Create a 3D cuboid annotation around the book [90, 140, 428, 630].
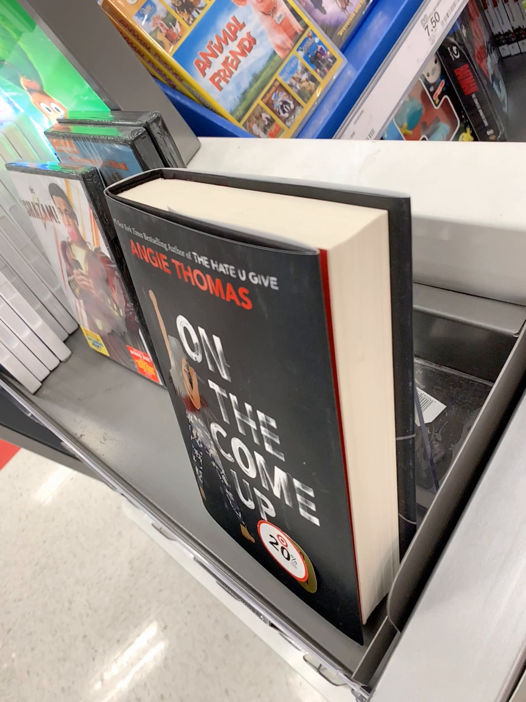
[{"bbox_3d":[0.005,0.015,0.285,0.056,0.222,0.149,-33,38,-31],"label":"book"}]
